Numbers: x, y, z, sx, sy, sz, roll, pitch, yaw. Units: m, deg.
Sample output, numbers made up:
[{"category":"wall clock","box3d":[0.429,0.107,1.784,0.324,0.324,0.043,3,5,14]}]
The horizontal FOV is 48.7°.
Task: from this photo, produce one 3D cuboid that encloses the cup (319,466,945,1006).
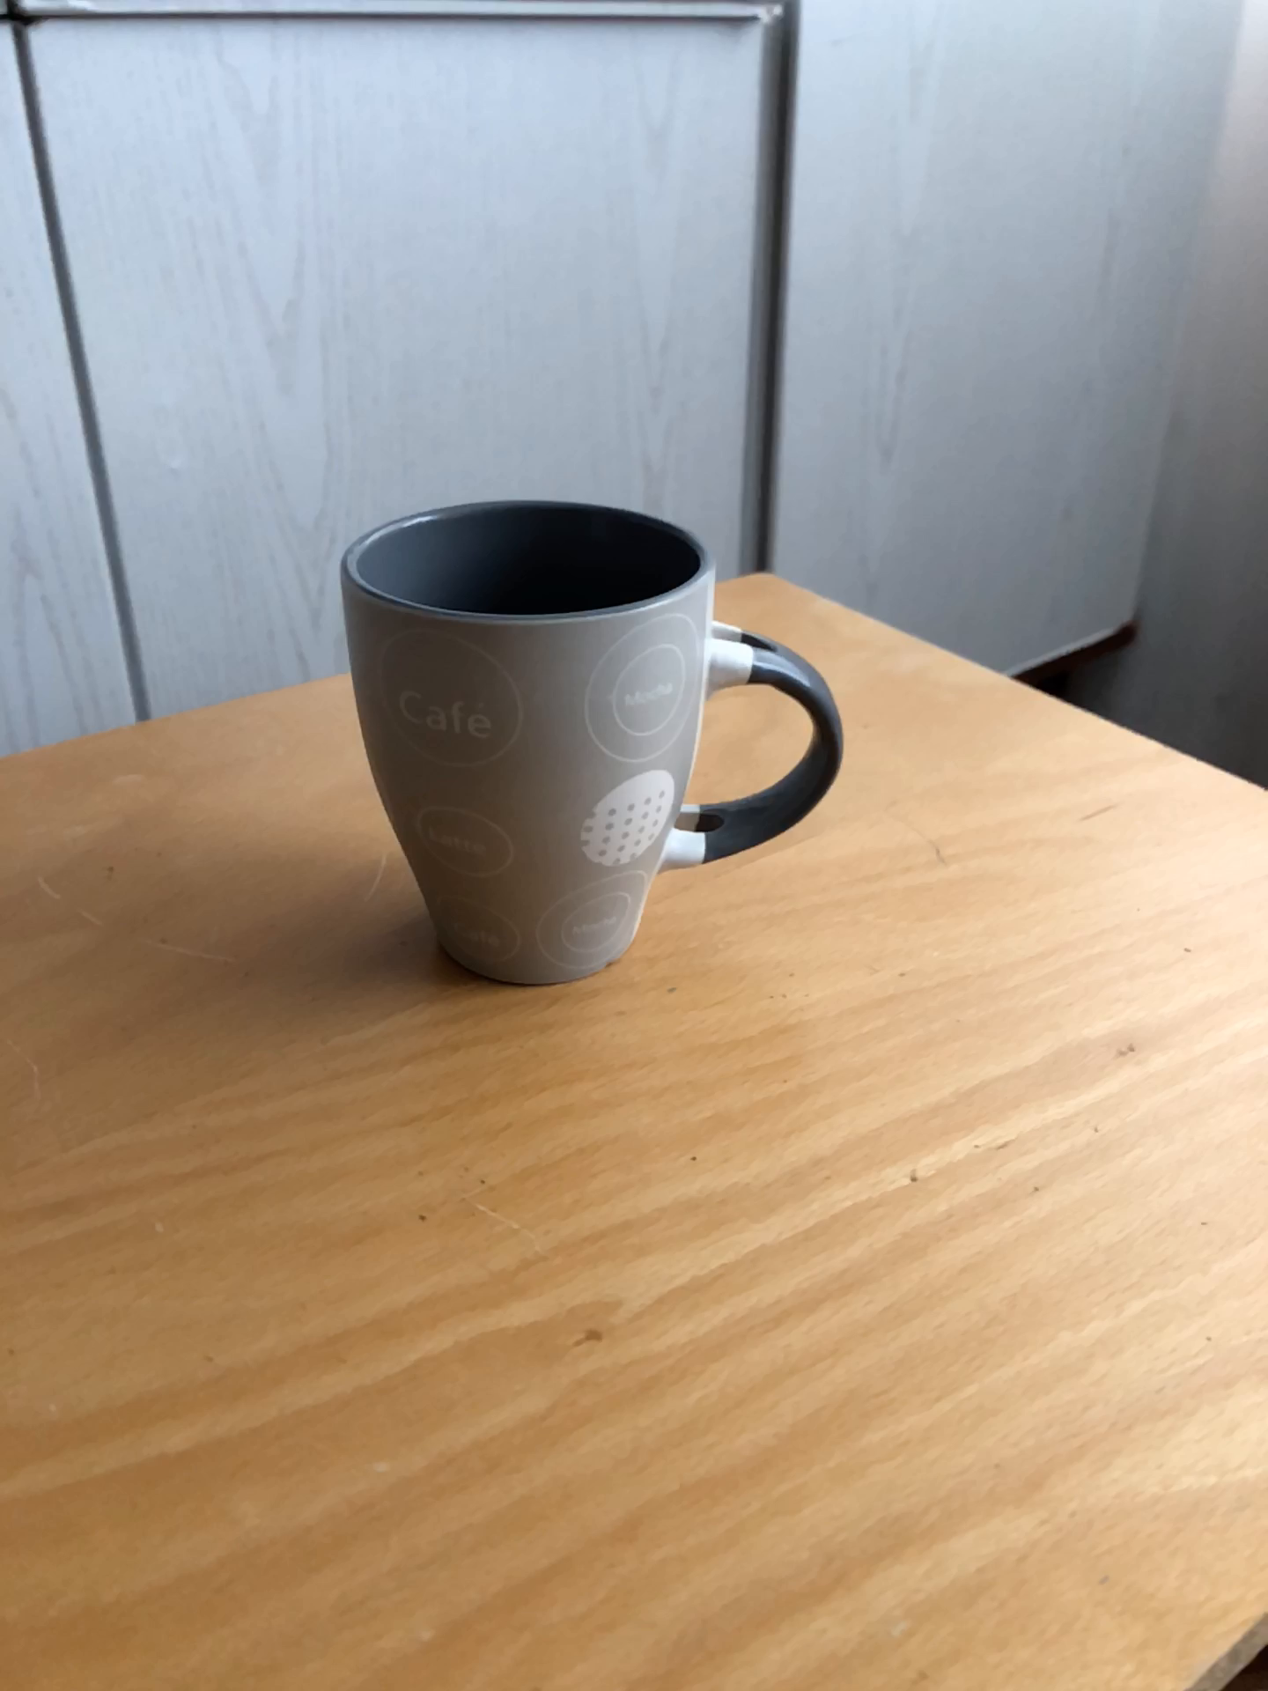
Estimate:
[{"category":"cup","box3d":[-0.006,-0.032,0.342,0.126,0.093,0.085,-7,30,-12]}]
